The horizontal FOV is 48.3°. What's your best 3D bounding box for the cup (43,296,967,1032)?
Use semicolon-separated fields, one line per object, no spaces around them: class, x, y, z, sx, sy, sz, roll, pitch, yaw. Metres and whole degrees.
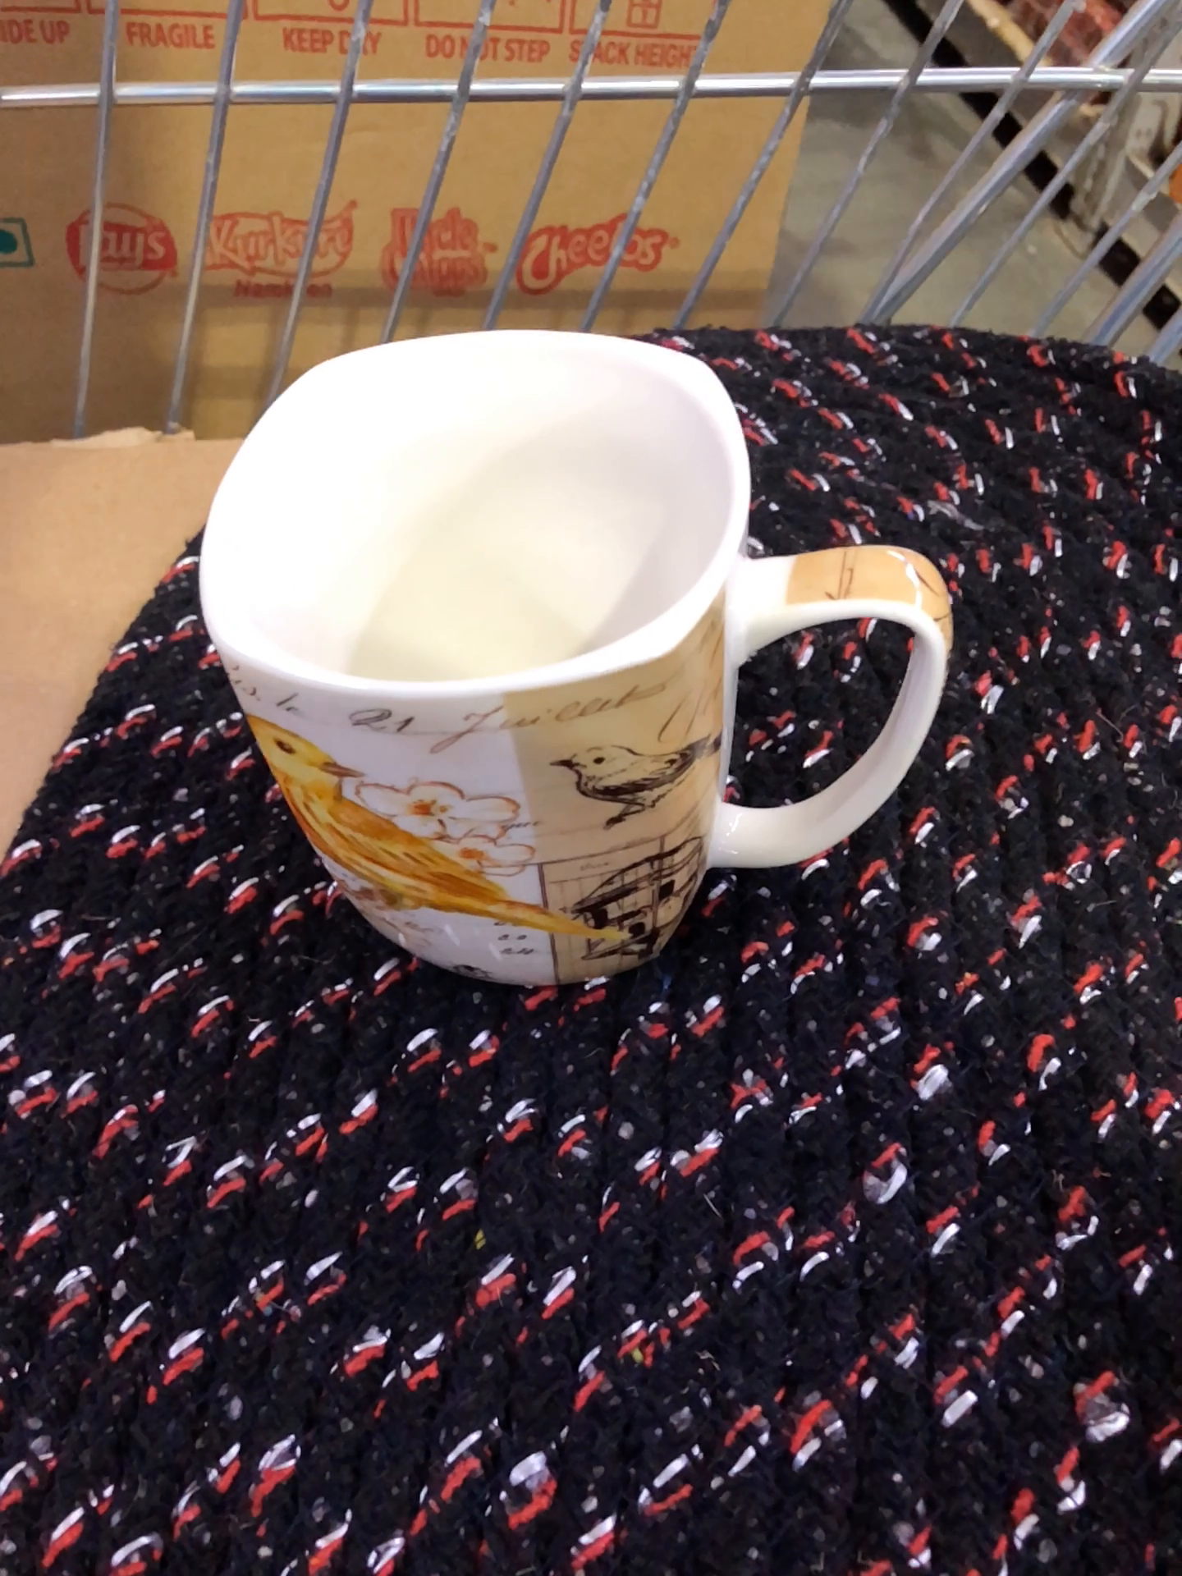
cup;-0.004;-0.021;0.226;0.120;0.080;0.091;0;49;10
